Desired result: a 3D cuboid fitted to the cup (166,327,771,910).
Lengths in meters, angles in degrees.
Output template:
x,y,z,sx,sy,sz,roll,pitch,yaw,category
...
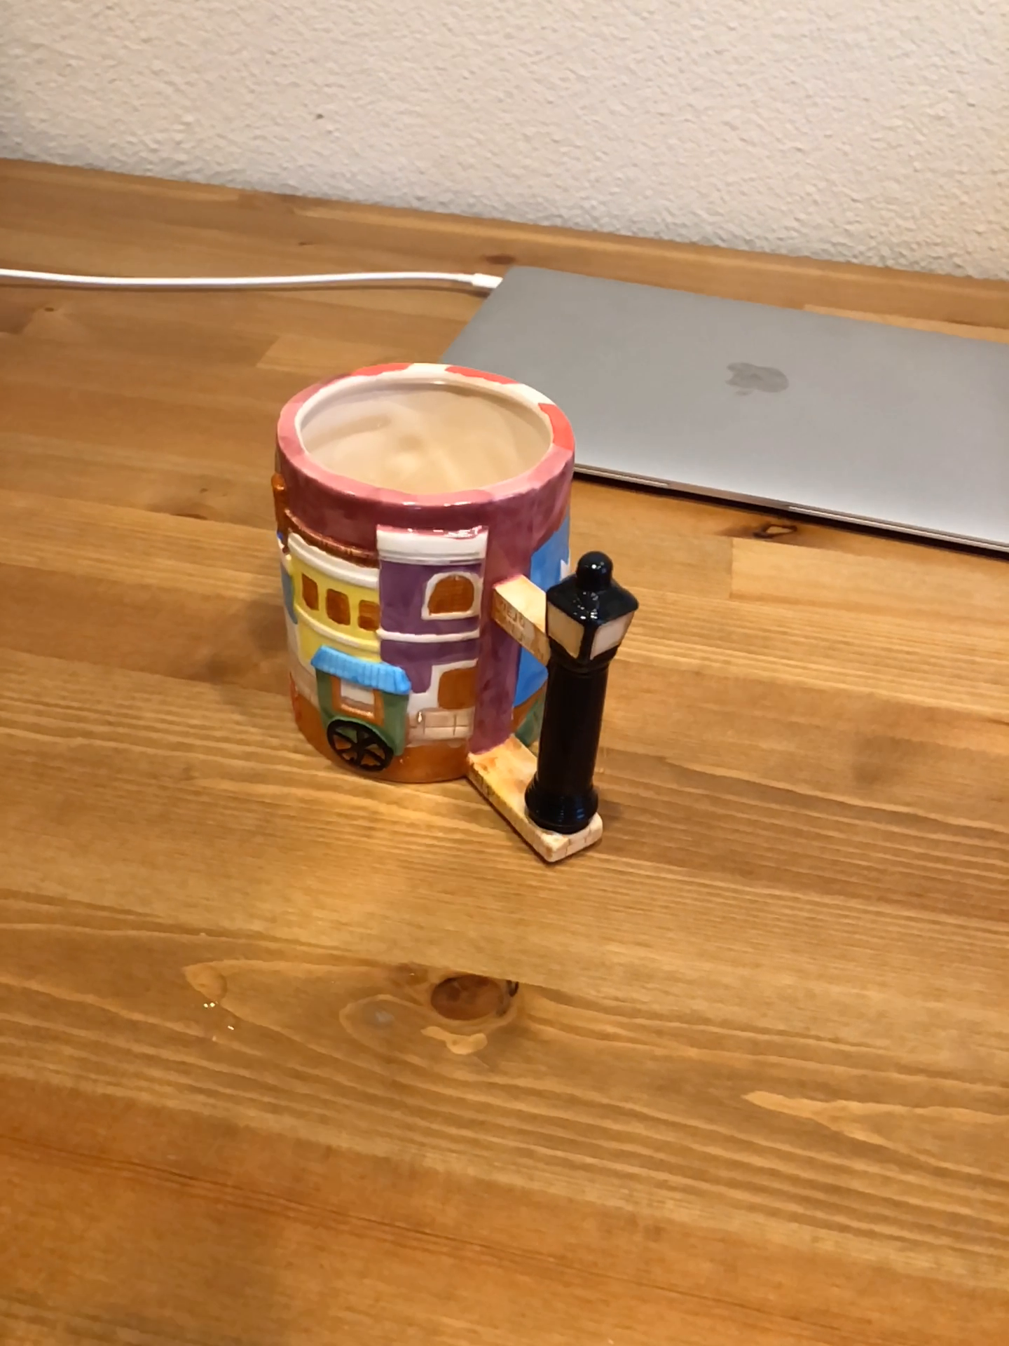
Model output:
x,y,z,sx,sy,sz,roll,pitch,yaw,category
-0.013,-0.024,0.318,0.130,0.090,0.090,31,46,30,cup
